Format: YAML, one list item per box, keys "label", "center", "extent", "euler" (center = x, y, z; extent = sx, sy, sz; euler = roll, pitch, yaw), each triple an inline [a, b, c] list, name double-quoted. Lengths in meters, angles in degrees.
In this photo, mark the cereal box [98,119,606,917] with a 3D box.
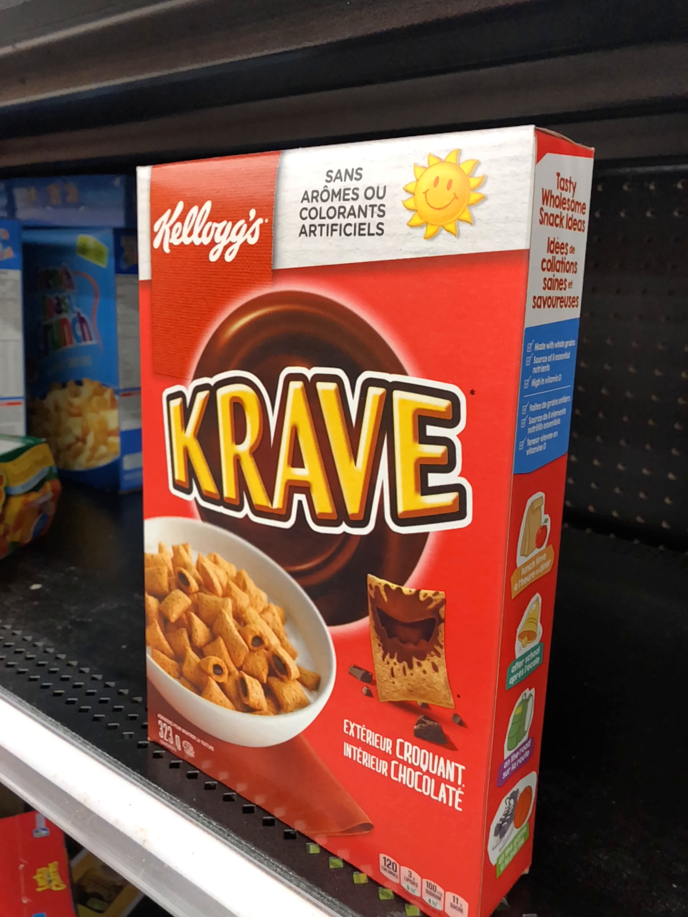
- label: "cereal box"
  center: [-0.017, 0.020, 0.324]
  extent: [0.210, 0.279, 0.050]
  euler: [12, 15, 37]
